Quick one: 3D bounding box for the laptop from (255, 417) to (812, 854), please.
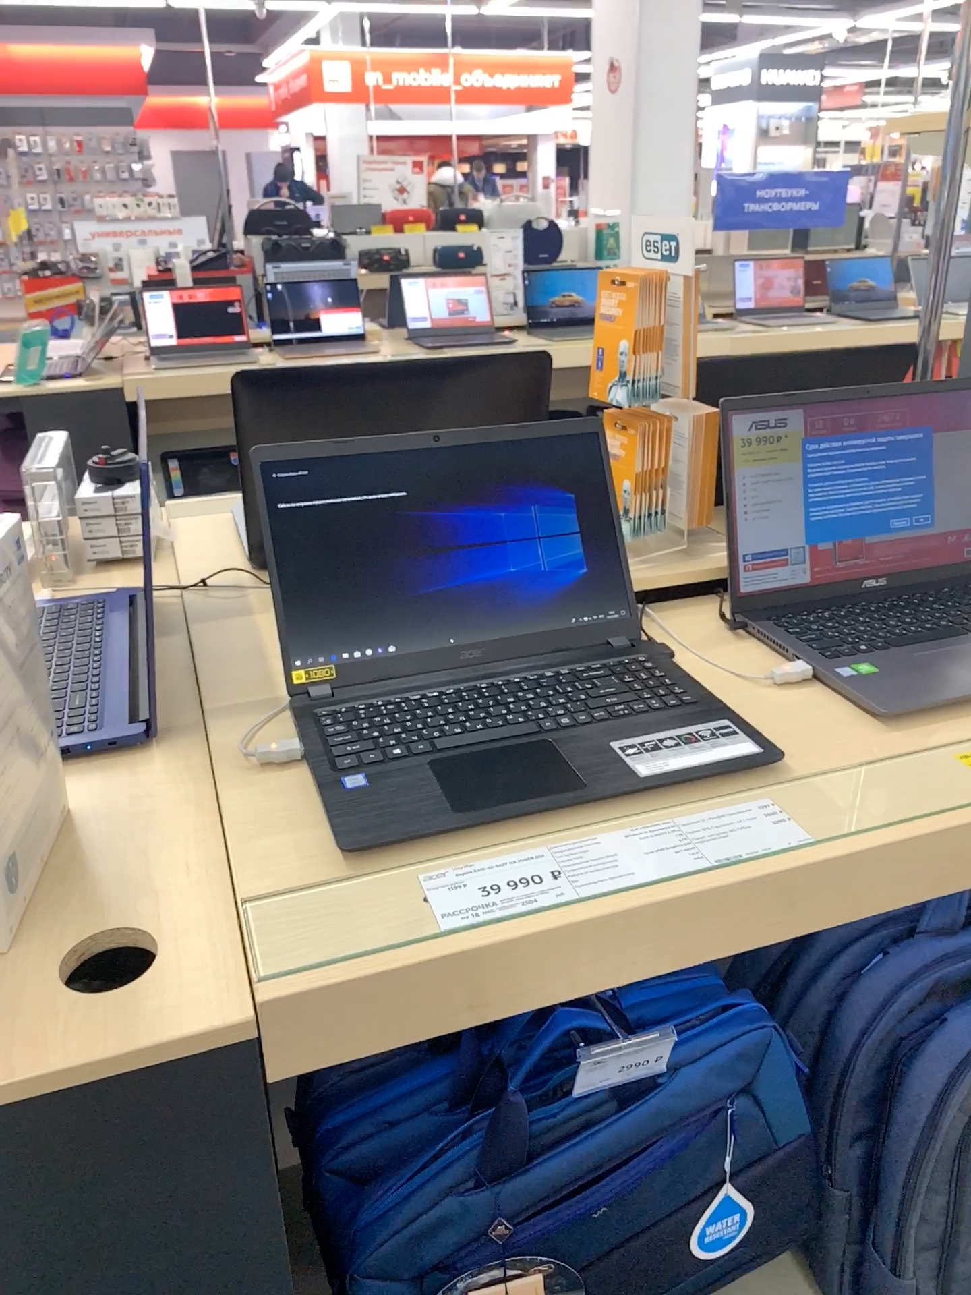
[{"bbox_3d":[0.015,-0.051,0.903,0.376,0.216,0.377,-9,25,-18],"label":"laptop"}]
